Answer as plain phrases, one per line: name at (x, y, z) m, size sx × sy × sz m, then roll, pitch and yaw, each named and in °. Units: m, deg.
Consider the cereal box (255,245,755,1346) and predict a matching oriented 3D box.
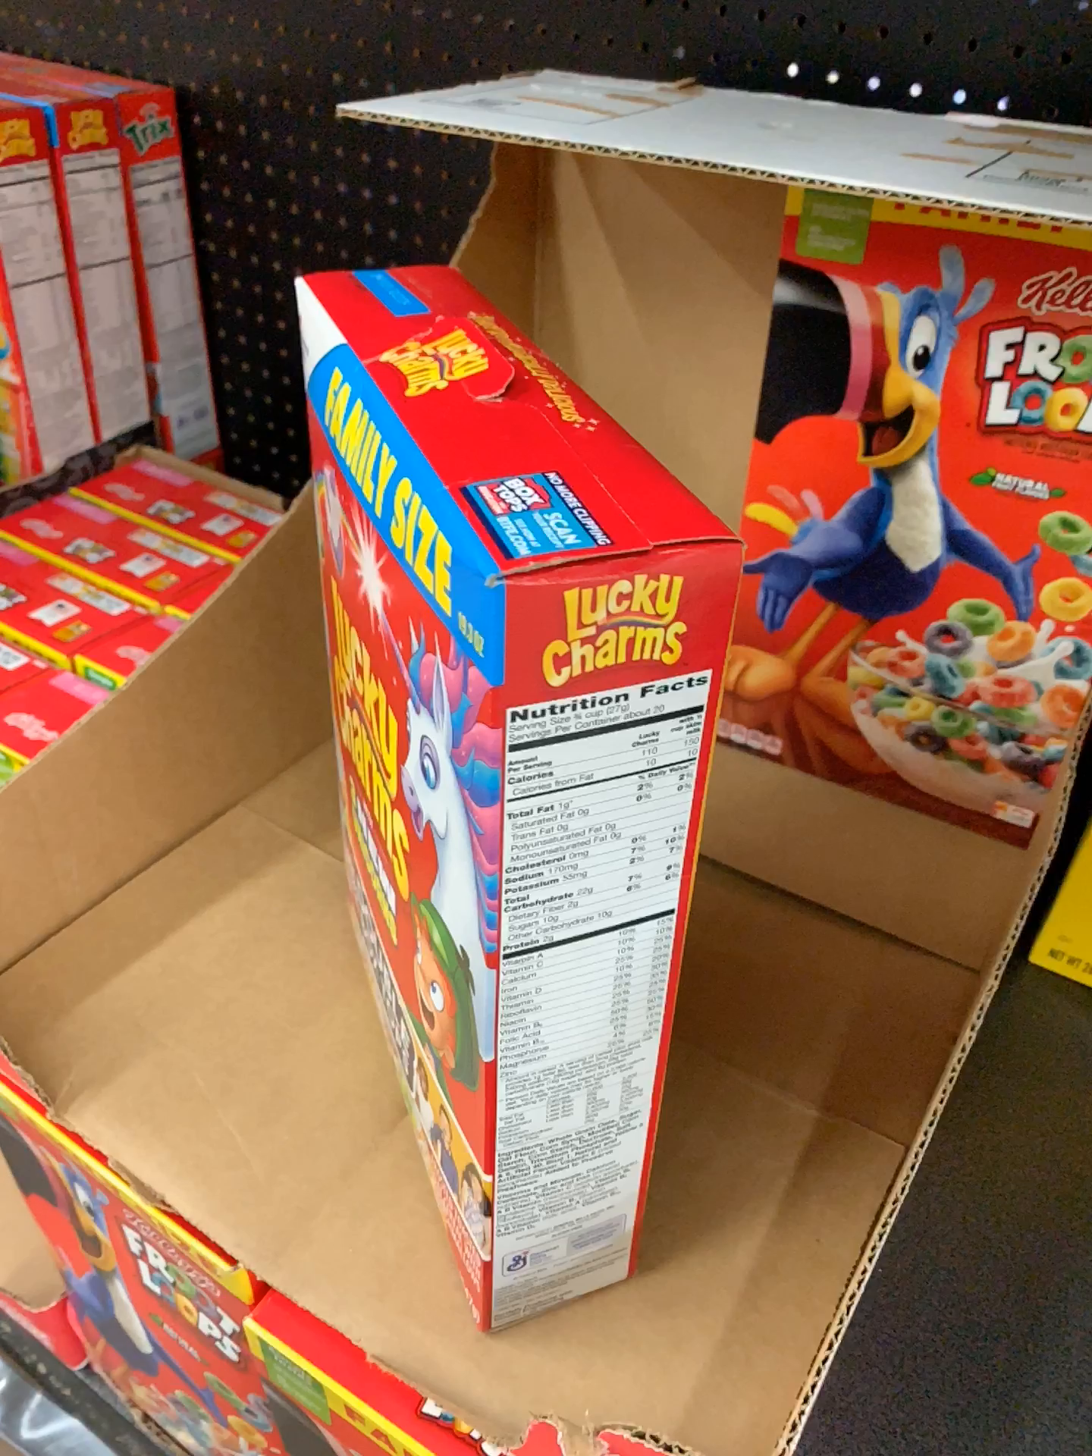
cereal box at (-0.033, 0.017, 0.385) m, size 0.060 × 0.289 × 0.231 m, roll -11°, pitch 38°, yaw -18°
